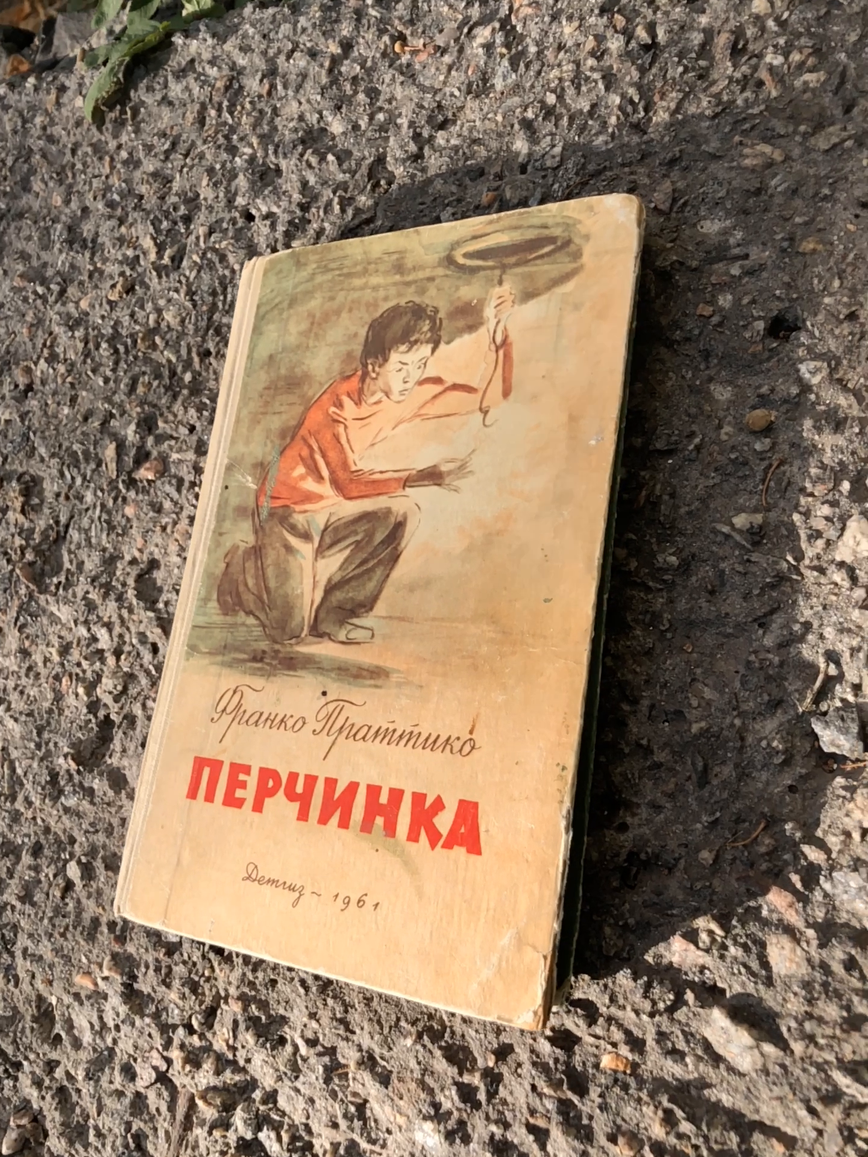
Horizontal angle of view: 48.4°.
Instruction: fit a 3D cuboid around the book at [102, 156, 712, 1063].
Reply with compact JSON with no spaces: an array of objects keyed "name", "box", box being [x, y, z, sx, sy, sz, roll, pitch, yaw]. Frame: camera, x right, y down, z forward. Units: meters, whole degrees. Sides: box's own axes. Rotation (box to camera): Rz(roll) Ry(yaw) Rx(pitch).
[{"name":"book","box":[-0.007,-0.002,0.255,0.132,0.030,0.203,3,77,28]}]
